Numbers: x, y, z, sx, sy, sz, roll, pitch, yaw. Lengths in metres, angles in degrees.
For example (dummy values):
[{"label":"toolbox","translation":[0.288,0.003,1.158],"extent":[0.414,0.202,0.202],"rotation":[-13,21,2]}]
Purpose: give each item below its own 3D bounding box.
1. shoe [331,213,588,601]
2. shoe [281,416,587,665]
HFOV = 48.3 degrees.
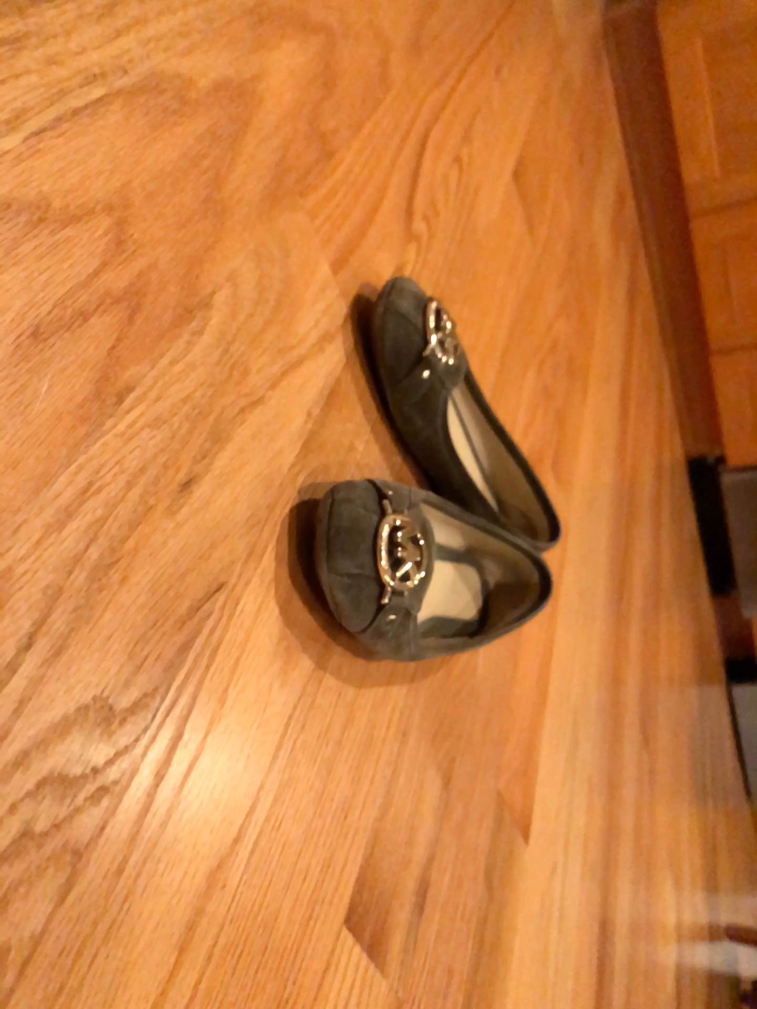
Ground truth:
[{"label":"shoe","translation":[0.066,-0.047,0.539],"extent":[0.240,0.079,0.091],"rotation":[59,33,-41]},{"label":"shoe","translation":[0.046,0.036,0.464],"extent":[0.243,0.079,0.091],"rotation":[25,61,-61]}]
